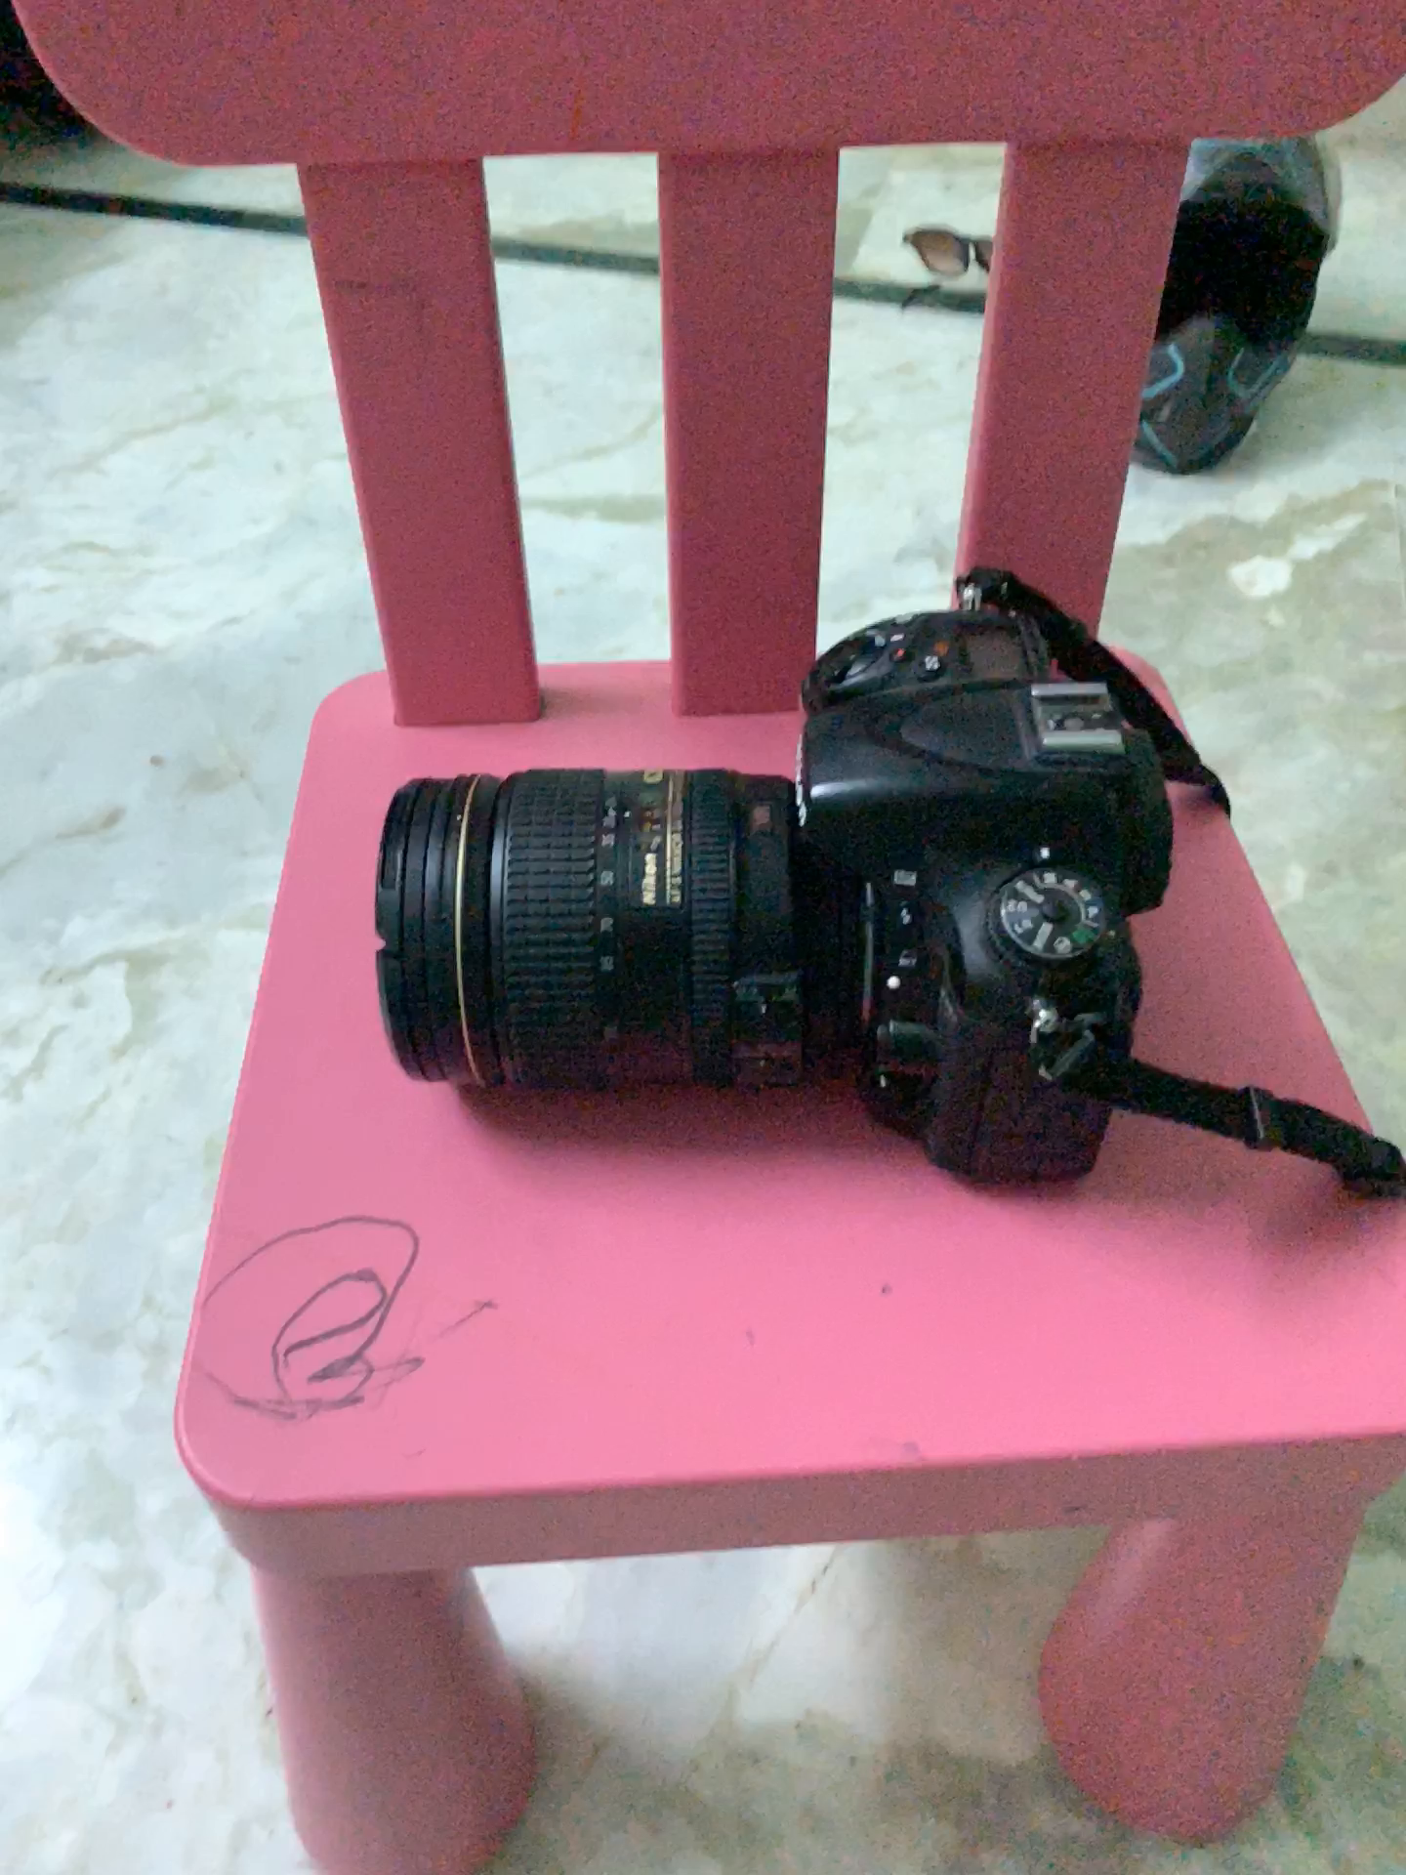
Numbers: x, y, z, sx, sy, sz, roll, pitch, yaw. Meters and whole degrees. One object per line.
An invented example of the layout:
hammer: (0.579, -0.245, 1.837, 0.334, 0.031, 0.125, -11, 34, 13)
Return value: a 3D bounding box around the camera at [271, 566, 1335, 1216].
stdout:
camera: (0.019, -0.016, 0.361, 0.210, 0.080, 0.141, -2, 49, -1)
